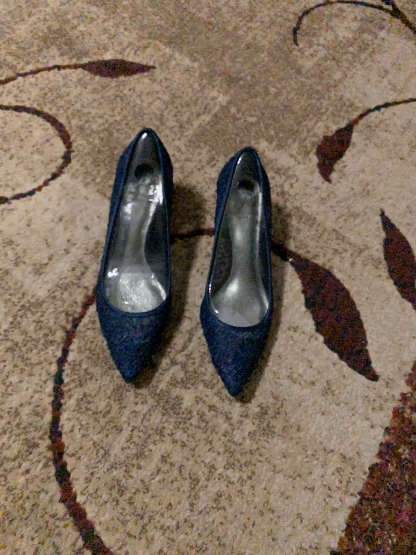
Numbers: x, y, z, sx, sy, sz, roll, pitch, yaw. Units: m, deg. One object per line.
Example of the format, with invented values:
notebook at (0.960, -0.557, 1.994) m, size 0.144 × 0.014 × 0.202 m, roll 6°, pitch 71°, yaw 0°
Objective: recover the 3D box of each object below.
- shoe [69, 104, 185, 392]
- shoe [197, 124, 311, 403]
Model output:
shoe at (-0.075, -0.036, 0.456) m, size 0.088 × 0.089 × 0.294 m, roll 3°, pitch 65°, yaw -6°
shoe at (0.038, -0.019, 0.461) m, size 0.088 × 0.089 × 0.285 m, roll 3°, pitch 65°, yaw -6°
